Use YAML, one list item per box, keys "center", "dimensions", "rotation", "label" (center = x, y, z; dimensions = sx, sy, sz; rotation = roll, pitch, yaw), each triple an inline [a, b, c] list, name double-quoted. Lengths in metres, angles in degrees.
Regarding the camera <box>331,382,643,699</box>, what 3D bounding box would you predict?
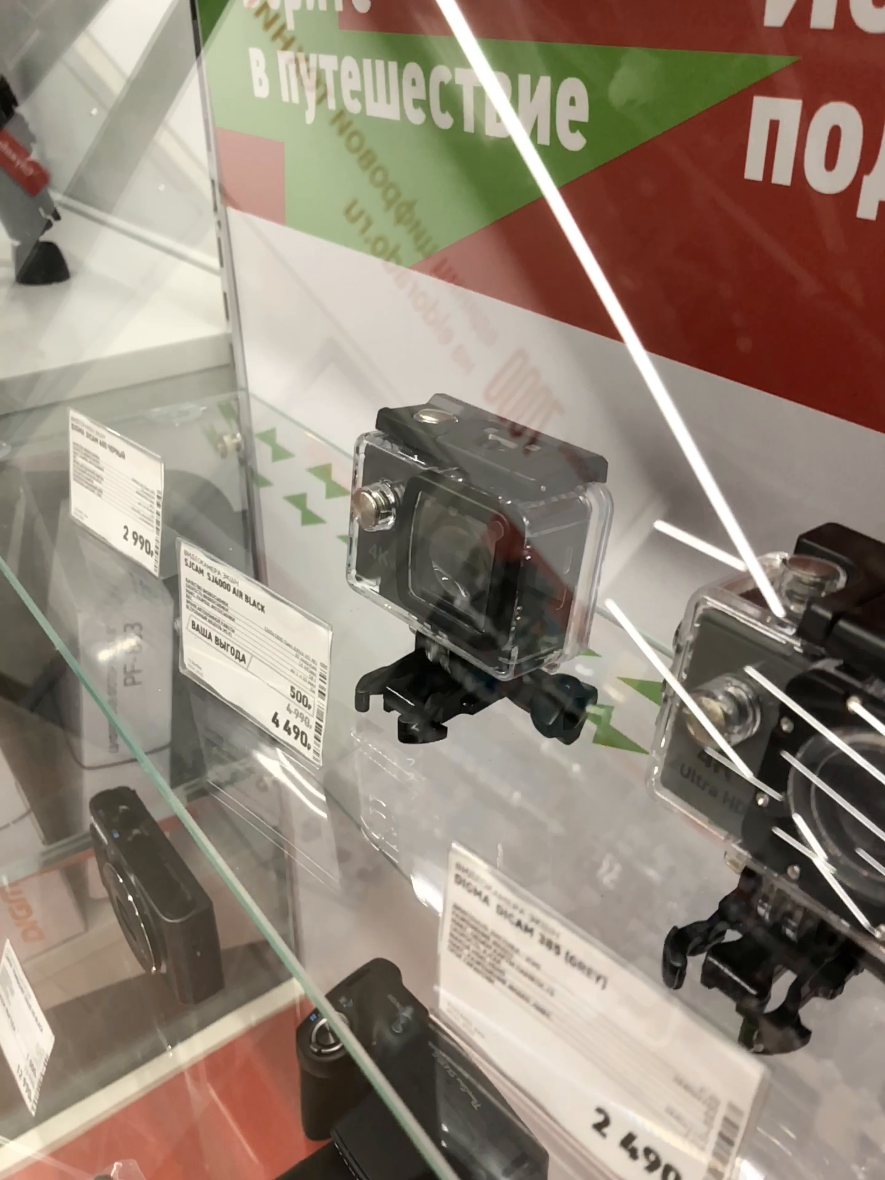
- center: [0.008, -0.017, 0.258]
  dimensions: [0.033, 0.055, 0.074]
  rotation: [-18, 35, -41]
  label: "camera"
